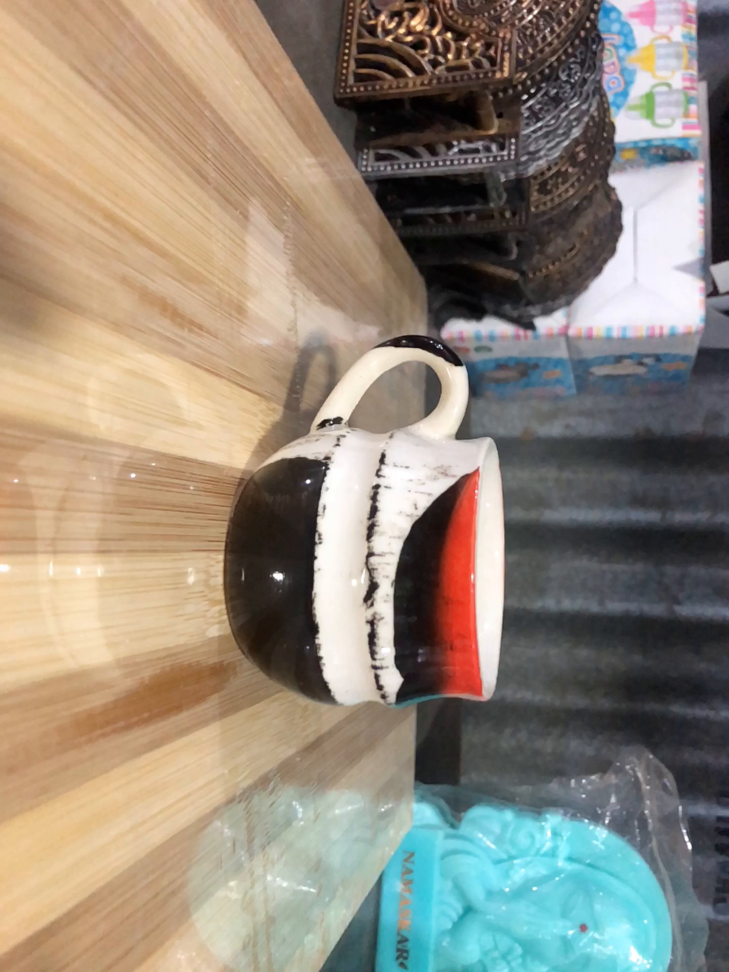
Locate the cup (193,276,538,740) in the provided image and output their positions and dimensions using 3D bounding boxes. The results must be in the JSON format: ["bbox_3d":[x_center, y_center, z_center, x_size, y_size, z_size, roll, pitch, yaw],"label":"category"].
[{"bbox_3d":[0.010,0.011,0.202,0.080,0.060,0.090,58,36,-66],"label":"cup"}]
